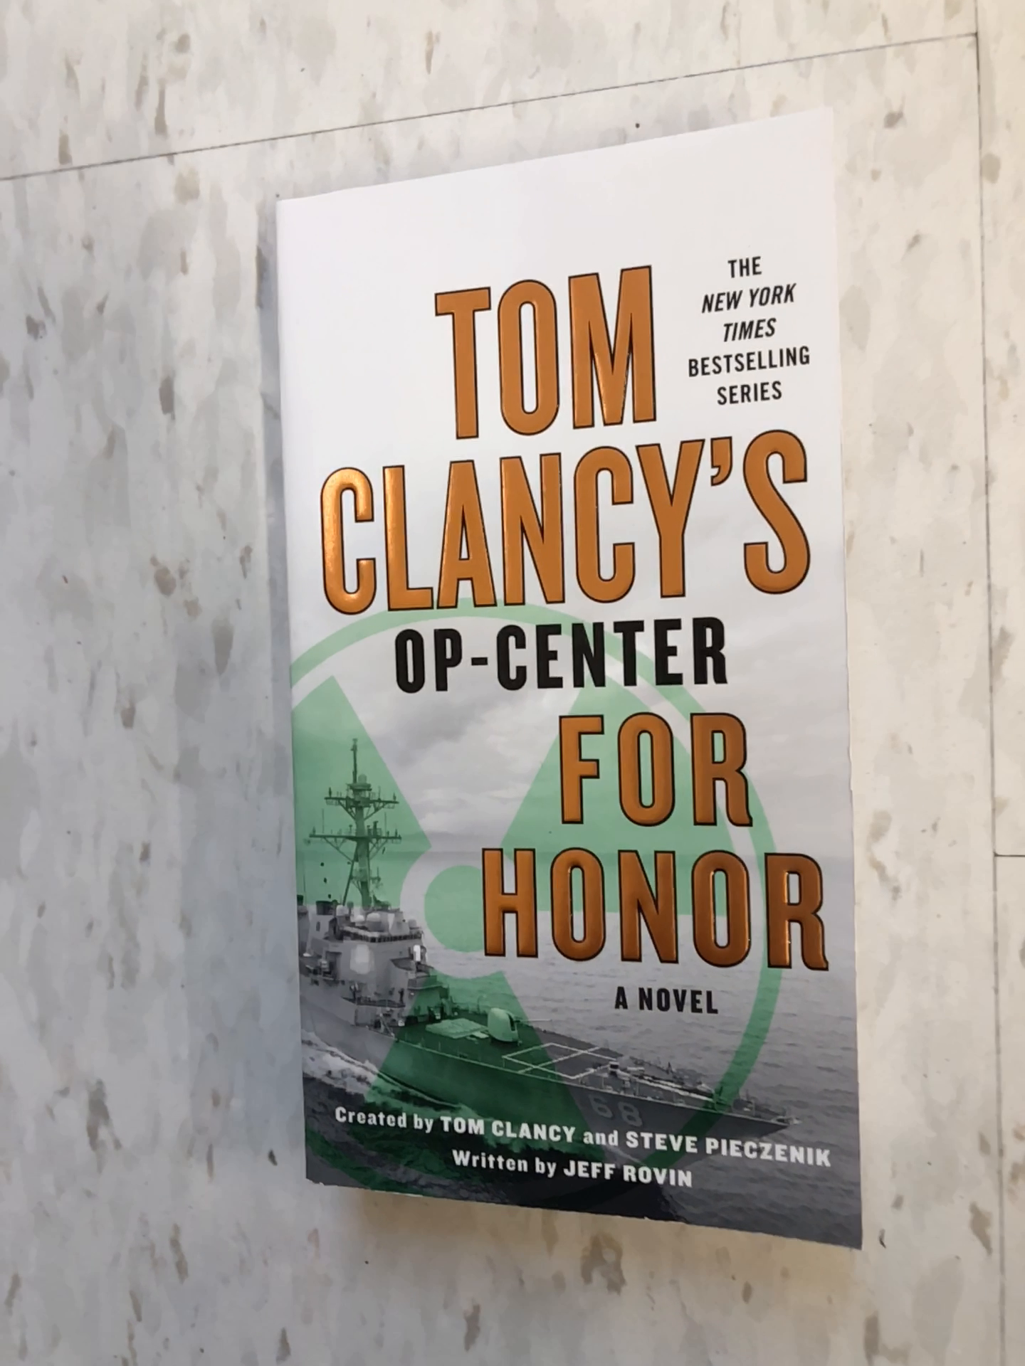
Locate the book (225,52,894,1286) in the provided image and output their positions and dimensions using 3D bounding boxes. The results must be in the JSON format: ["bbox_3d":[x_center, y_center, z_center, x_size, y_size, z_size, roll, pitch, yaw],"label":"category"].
[{"bbox_3d":[0.010,0.000,0.222,0.110,0.050,0.200,-3,90,15],"label":"book"}]
